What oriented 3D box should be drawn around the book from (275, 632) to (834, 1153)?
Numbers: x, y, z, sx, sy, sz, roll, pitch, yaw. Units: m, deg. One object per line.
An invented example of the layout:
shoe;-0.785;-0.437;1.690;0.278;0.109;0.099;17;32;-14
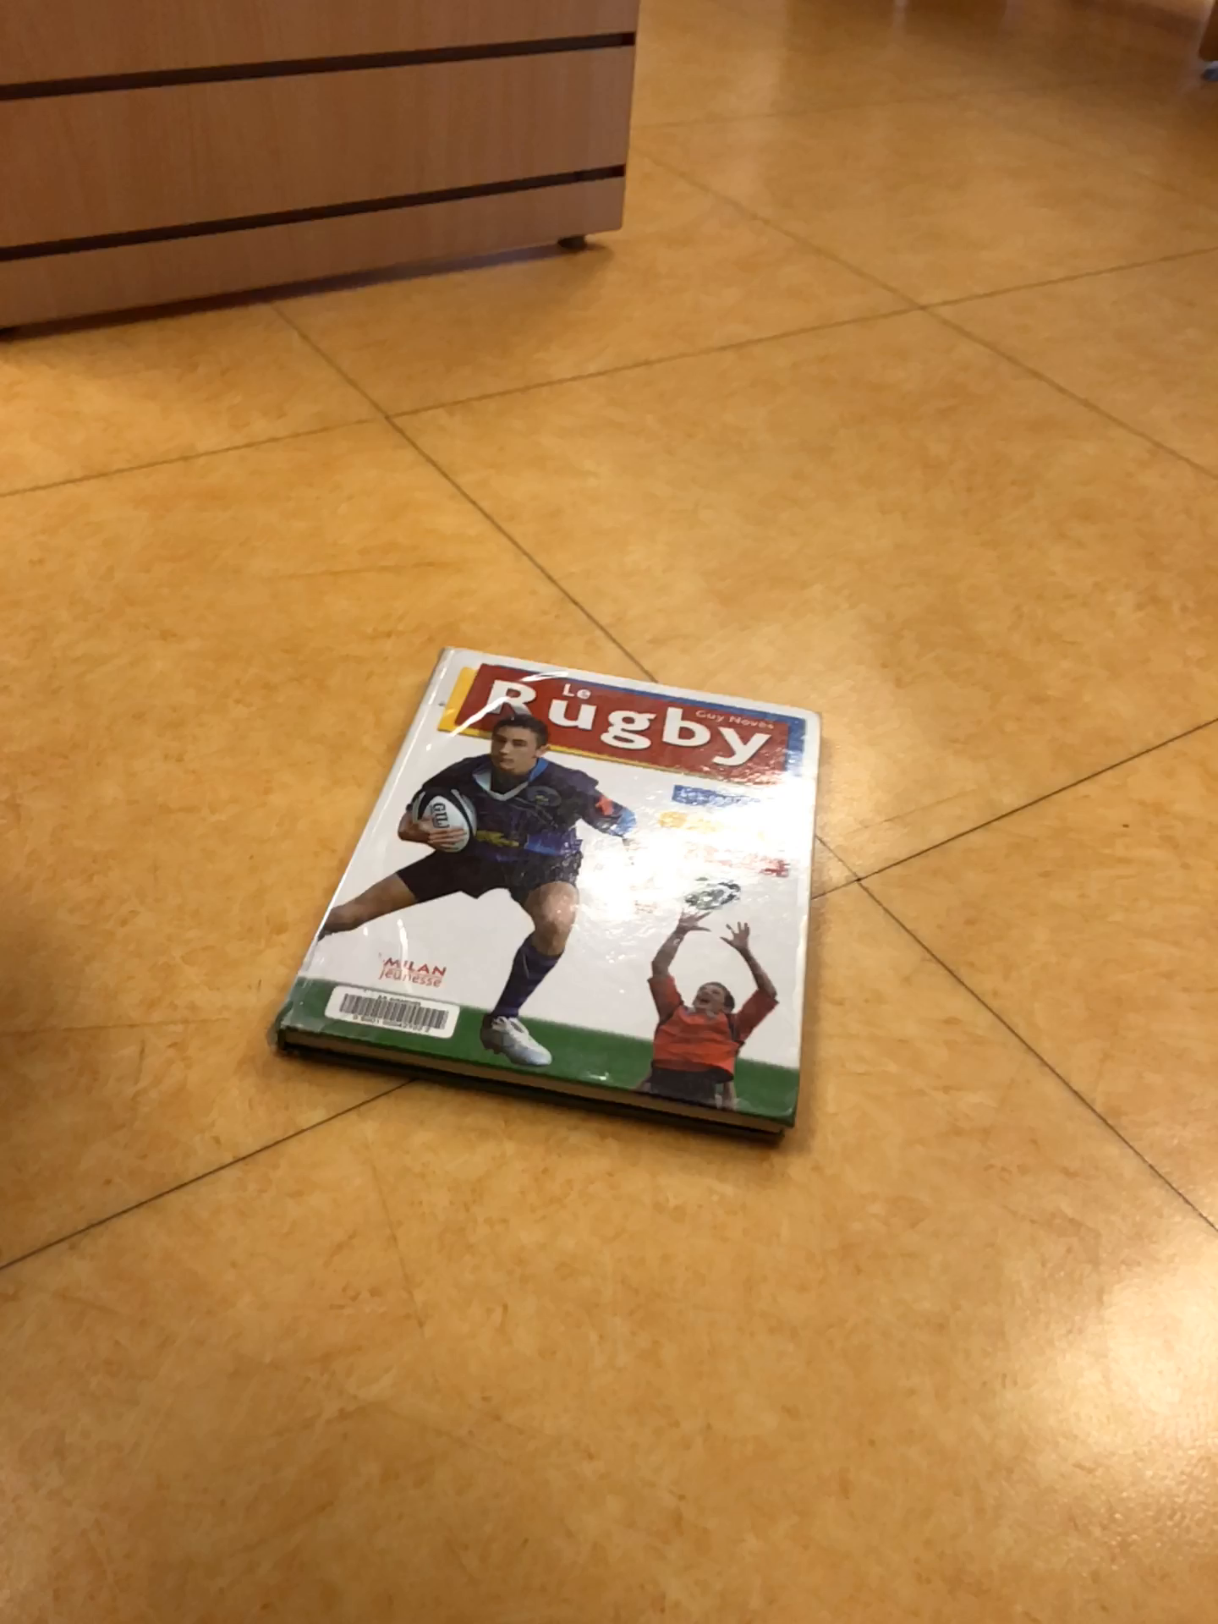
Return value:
book;-0.006;0.018;0.603;0.203;0.024;0.261;10;42;3
